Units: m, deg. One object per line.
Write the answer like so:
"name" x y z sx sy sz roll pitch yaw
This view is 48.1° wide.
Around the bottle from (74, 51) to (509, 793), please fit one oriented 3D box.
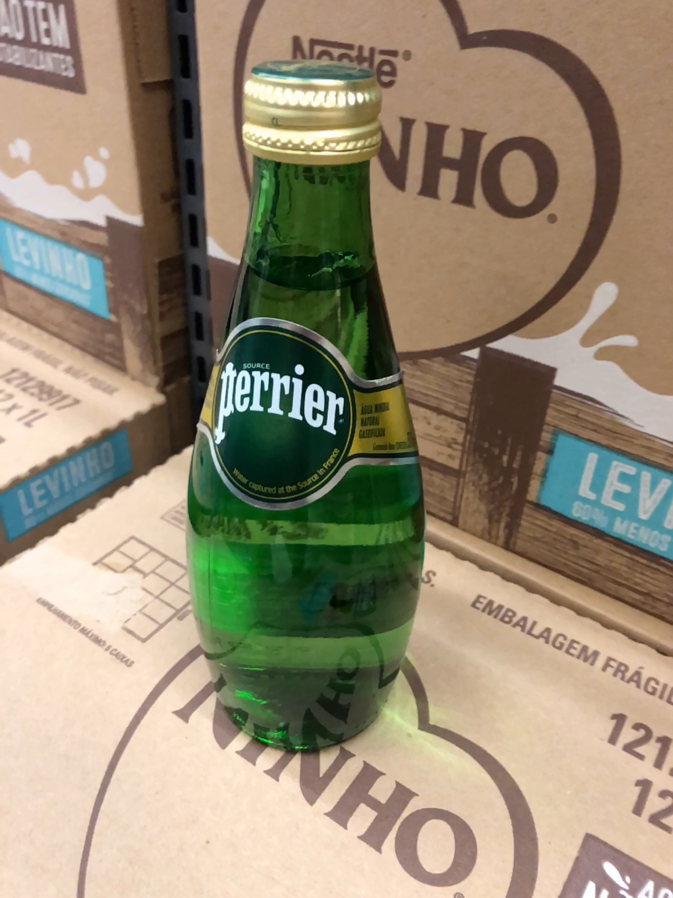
"bottle" -0.007 0.002 0.197 0.070 0.179 0.060 10 35 11
